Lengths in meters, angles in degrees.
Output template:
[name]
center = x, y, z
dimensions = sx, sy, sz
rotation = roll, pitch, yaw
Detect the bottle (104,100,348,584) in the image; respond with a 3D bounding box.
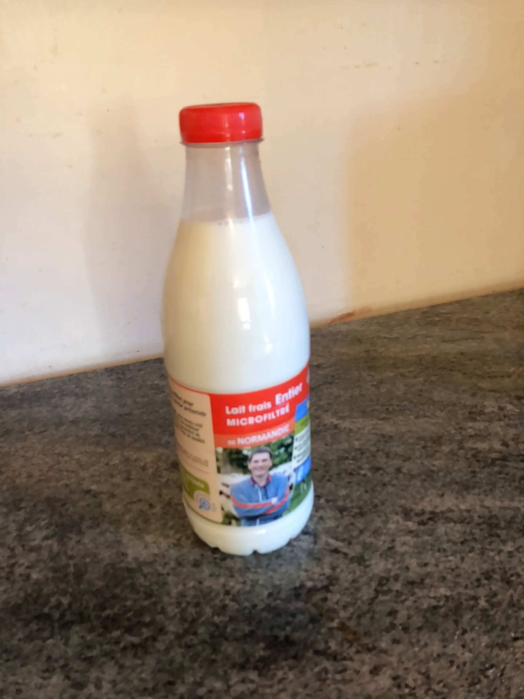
[bottle]
center = -0.013, -0.004, 0.328
dimensions = 0.090, 0.249, 0.080
rotation = -18, 28, -29
